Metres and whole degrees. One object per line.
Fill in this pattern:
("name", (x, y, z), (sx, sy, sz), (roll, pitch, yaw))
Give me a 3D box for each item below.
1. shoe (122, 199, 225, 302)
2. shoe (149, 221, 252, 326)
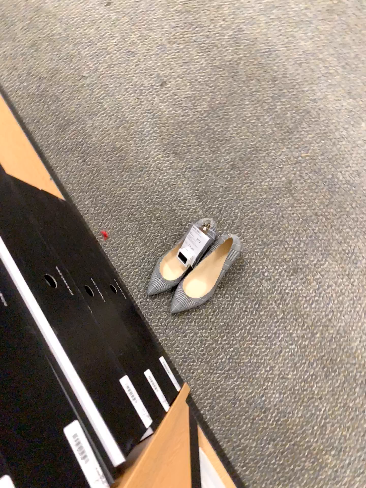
("shoe", (-0.014, 0.024, 0.889), (0.090, 0.150, 0.230), (44, 90, 12))
("shoe", (0.048, 0.074, 0.881), (0.090, 0.150, 0.230), (44, 90, 12))
